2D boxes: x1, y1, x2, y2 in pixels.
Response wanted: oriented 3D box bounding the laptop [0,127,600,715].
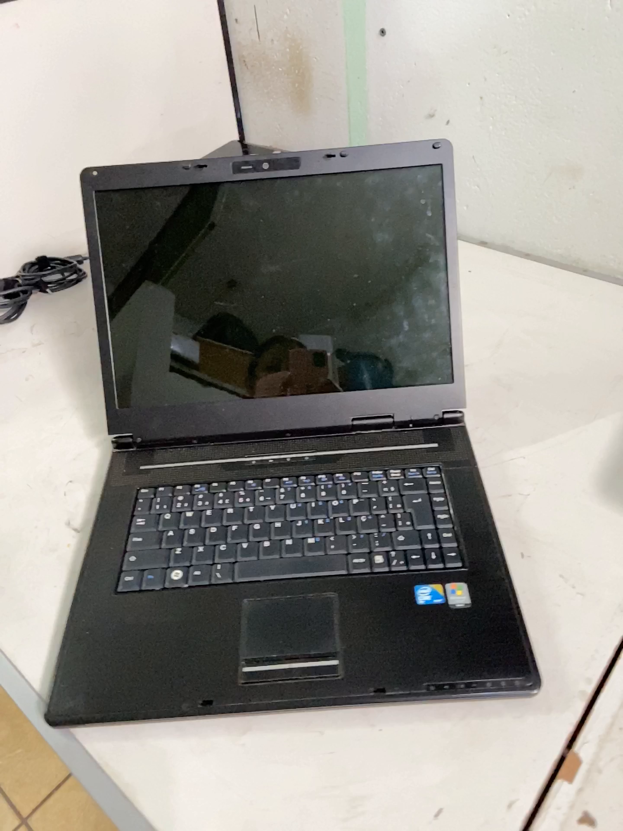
[{"bbox_3d":[-0.035,-0.028,0.538,0.351,0.224,0.432,-4,44,2],"label":"laptop"}]
